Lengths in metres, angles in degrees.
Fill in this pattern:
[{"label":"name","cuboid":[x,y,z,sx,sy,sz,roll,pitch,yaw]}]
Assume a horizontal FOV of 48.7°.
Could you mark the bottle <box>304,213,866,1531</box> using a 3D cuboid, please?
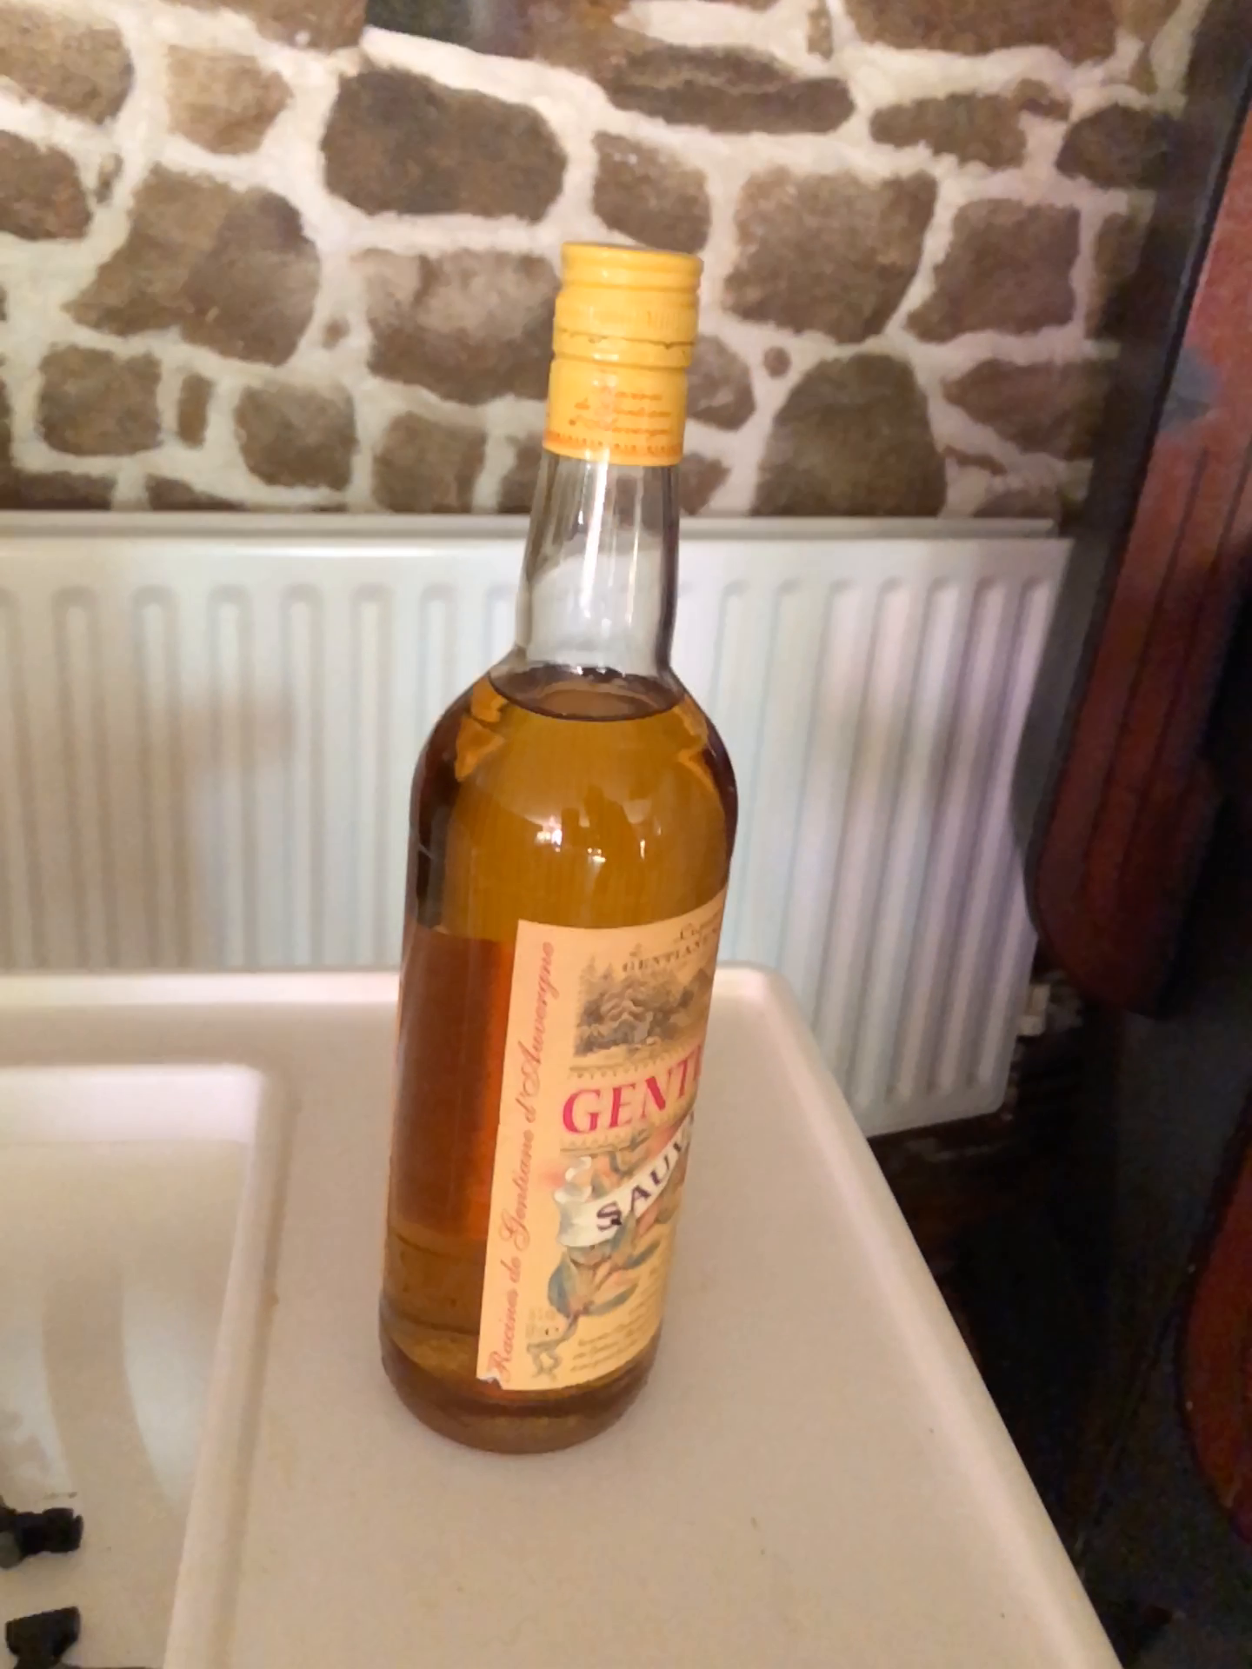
[{"label":"bottle","cuboid":[-0.017,0.014,0.344,0.080,0.298,0.091,17,26,27]}]
